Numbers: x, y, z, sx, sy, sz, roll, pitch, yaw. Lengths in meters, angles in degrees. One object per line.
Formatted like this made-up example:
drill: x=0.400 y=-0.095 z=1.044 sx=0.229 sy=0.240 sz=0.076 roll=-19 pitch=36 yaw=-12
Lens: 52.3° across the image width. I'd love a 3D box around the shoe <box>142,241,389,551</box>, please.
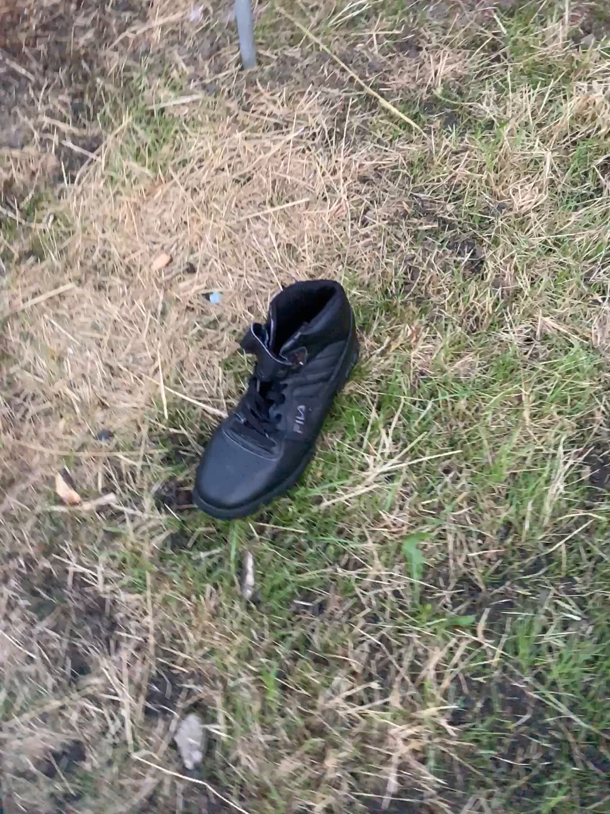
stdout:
shoe: x=-0.028 y=-0.008 z=0.618 sx=0.100 sy=0.139 sz=0.261 roll=28 pitch=70 yaw=12
